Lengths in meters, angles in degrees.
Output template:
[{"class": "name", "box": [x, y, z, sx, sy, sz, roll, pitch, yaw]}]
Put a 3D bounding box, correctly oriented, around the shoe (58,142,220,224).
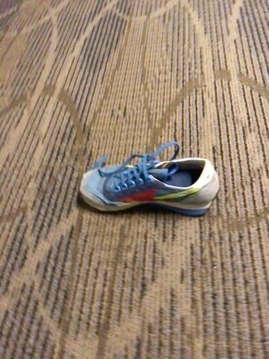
[{"class": "shoe", "box": [0.015, 0.003, 0.523, 0.259, 0.095, 0.101, 2, 55, 13]}]
